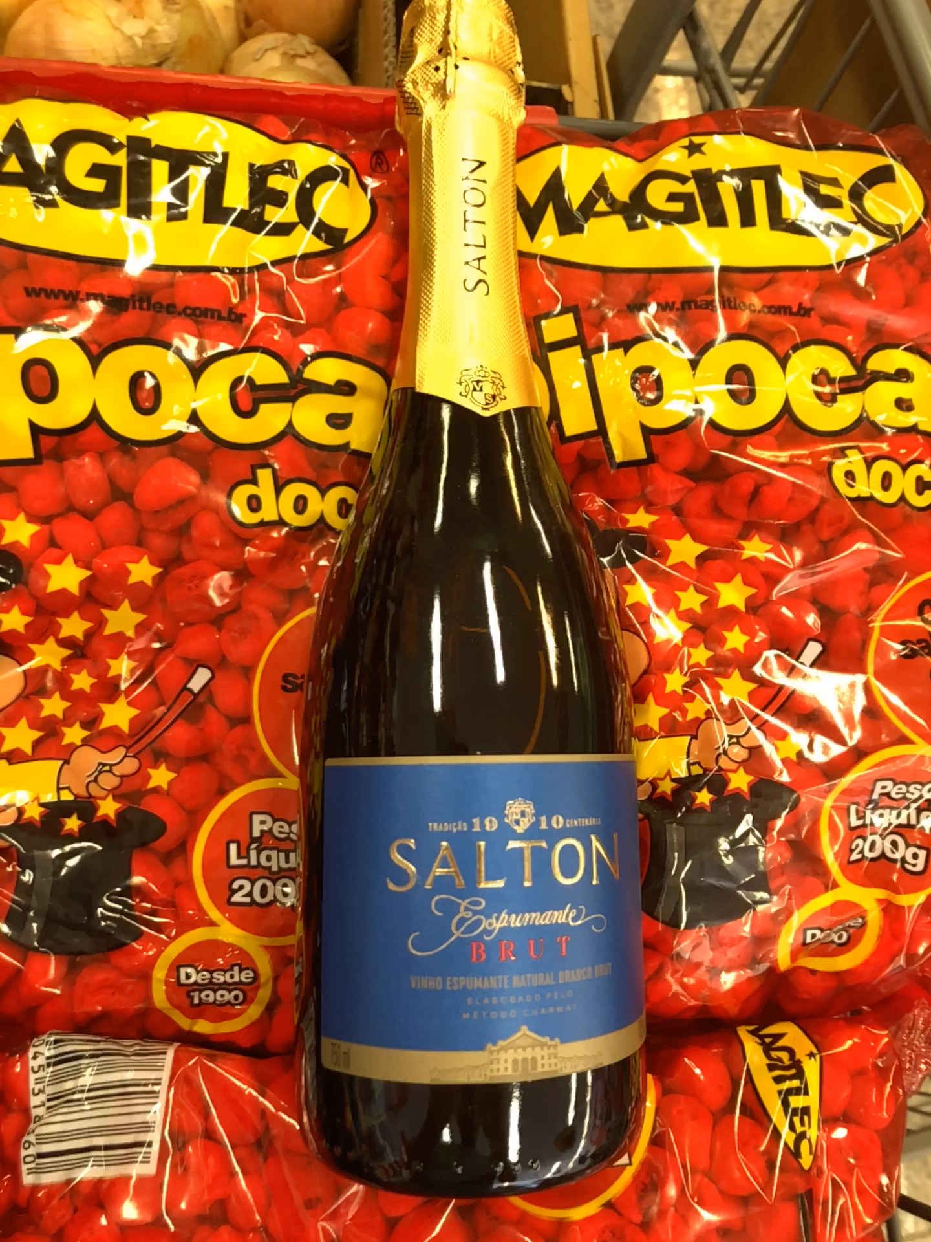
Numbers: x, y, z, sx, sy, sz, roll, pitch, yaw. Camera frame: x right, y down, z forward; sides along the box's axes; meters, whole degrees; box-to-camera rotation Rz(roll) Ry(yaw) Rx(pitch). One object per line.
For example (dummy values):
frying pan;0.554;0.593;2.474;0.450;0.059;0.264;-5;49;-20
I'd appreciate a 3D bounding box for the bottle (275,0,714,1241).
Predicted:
bottle;0.001;-0.026;0.264;0.090;0.080;0.310;1;85;-13
